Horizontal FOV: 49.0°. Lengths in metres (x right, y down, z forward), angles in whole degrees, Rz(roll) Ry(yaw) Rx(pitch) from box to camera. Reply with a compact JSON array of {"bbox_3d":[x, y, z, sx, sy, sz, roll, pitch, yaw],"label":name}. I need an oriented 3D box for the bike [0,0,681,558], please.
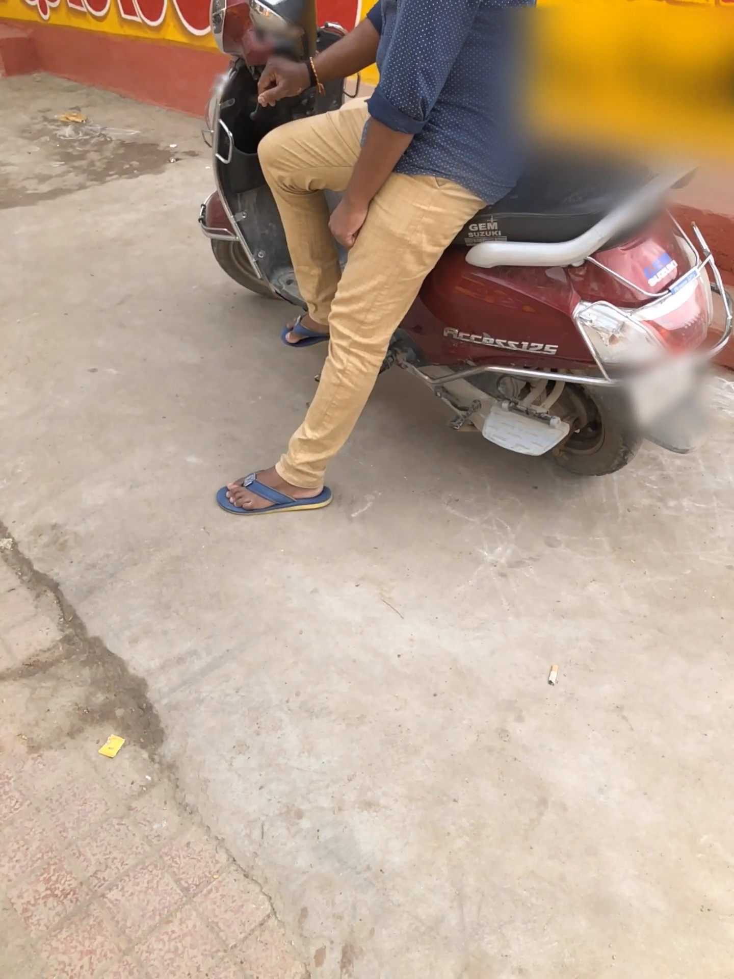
[{"bbox_3d":[-0.186,-0.702,1.969,1.378,1.087,0.631,29,45,31],"label":"bike"}]
